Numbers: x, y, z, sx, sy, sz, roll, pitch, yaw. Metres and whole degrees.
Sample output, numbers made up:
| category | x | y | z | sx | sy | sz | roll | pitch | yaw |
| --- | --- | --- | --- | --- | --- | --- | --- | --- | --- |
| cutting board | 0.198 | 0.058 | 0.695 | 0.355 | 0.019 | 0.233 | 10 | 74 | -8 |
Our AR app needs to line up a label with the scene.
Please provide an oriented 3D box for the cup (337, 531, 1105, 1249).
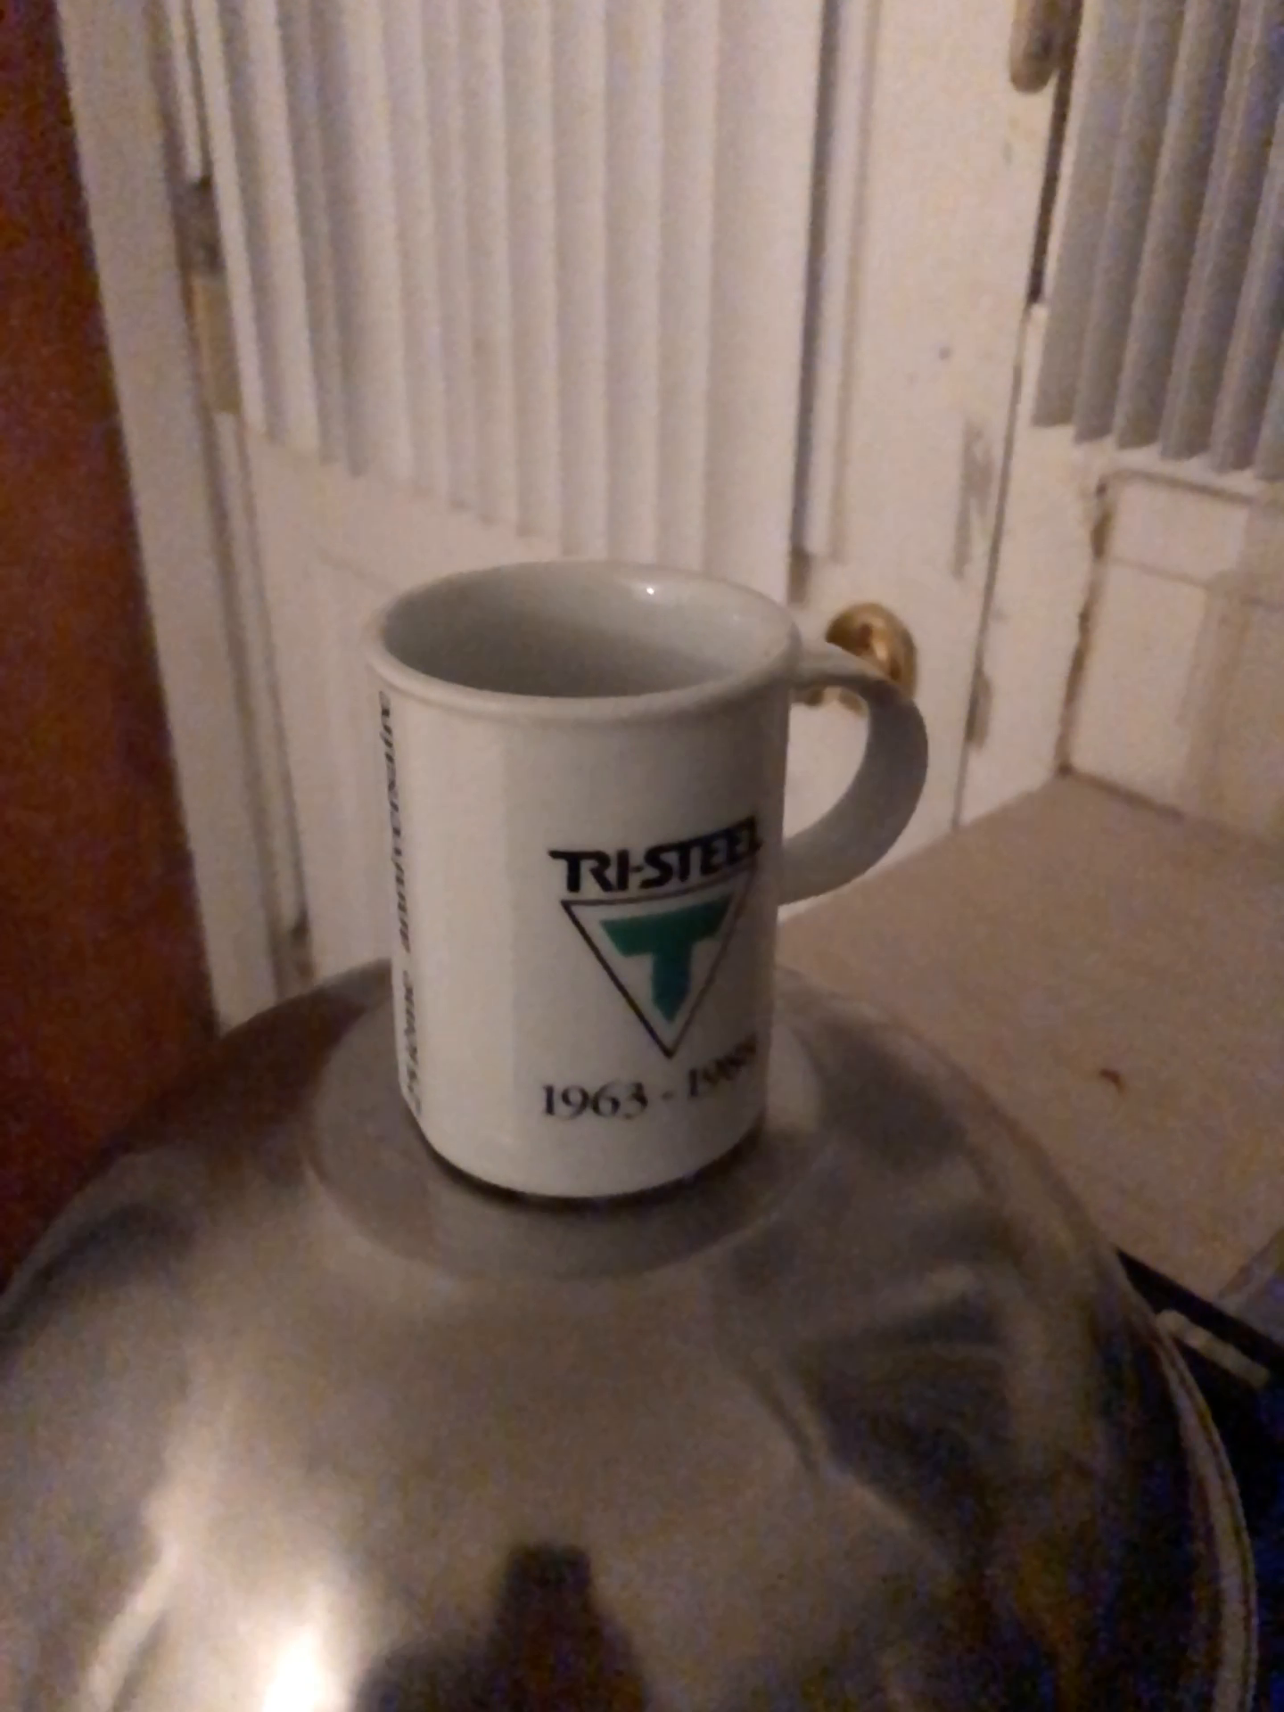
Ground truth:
| category | x | y | z | sx | sy | sz | roll | pitch | yaw |
| --- | --- | --- | --- | --- | --- | --- | --- | --- | --- |
| cup | 0.009 | 0.002 | 0.272 | 0.116 | 0.099 | 0.071 | -7 | 31 | -14 |
